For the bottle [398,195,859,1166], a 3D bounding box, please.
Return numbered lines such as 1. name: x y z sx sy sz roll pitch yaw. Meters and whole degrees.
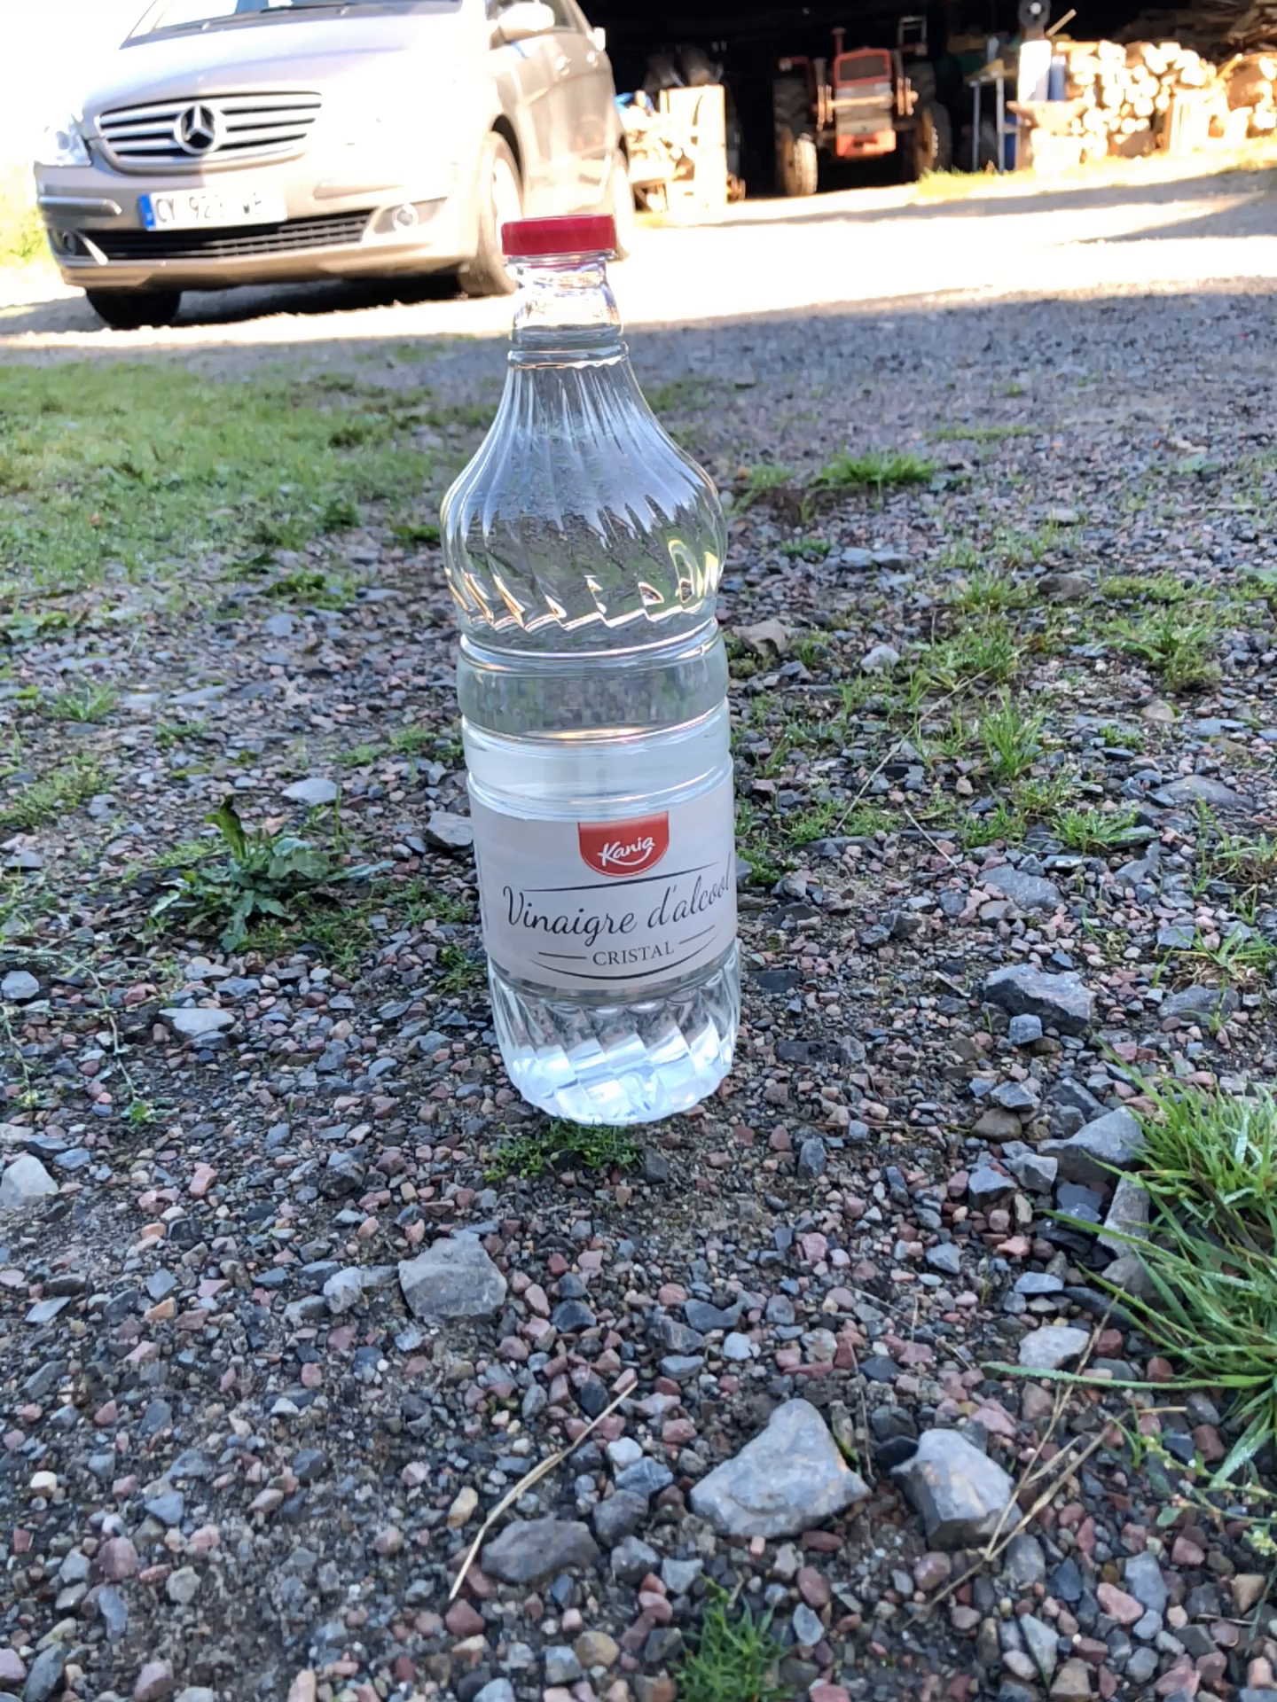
1. bottle: 0.001 -0.048 0.405 0.100 0.249 0.100 -4 24 2
